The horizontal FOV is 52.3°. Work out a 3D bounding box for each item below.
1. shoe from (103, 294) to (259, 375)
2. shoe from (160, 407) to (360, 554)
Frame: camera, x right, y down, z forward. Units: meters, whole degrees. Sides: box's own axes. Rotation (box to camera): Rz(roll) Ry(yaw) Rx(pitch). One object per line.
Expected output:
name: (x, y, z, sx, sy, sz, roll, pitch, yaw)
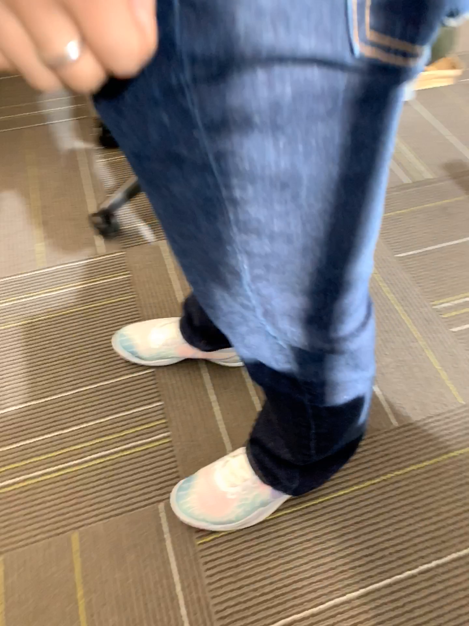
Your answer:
shoe: (-0.097, 0.042, 0.946, 0.283, 0.088, 0.118, 3, 52, 4)
shoe: (0.039, 0.270, 0.784, 0.289, 0.078, 0.123, -16, 53, -11)
